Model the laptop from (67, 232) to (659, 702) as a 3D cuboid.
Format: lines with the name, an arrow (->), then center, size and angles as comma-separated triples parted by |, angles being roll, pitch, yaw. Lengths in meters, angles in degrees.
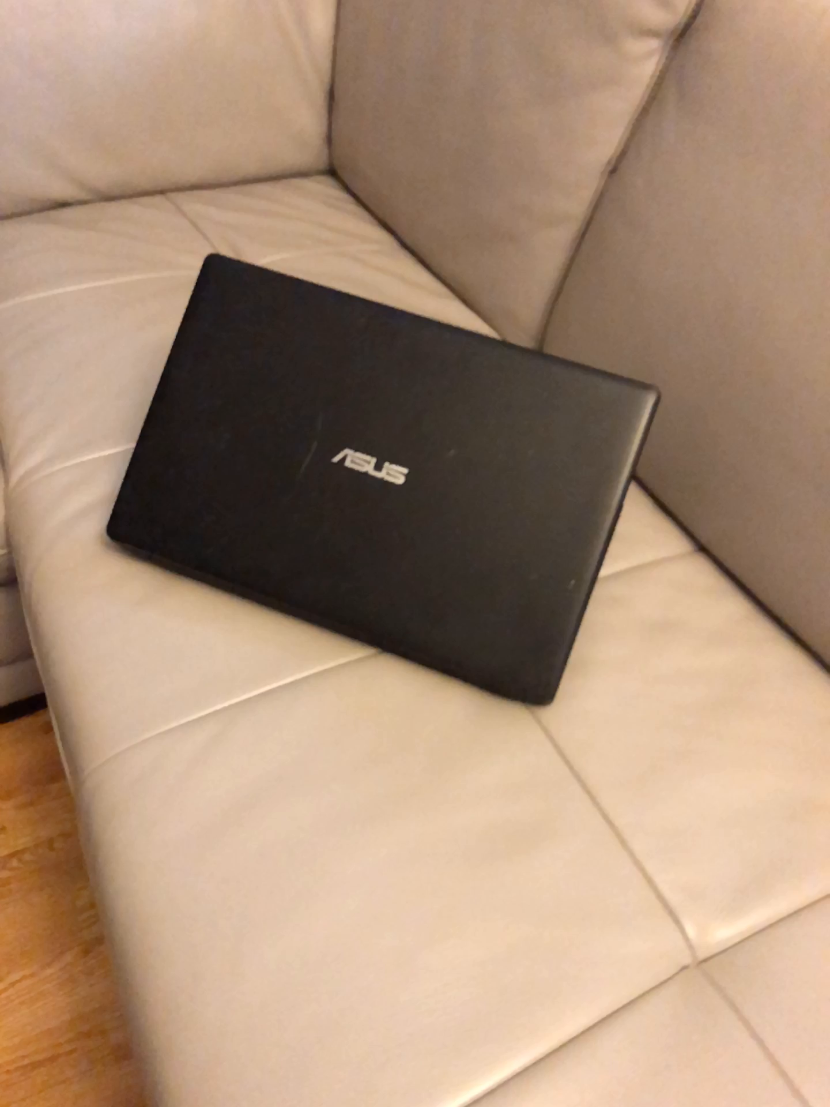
laptop -> -0.028, -0.086, 0.728 | 0.370, 0.155, 0.243 | 20, 47, 12
